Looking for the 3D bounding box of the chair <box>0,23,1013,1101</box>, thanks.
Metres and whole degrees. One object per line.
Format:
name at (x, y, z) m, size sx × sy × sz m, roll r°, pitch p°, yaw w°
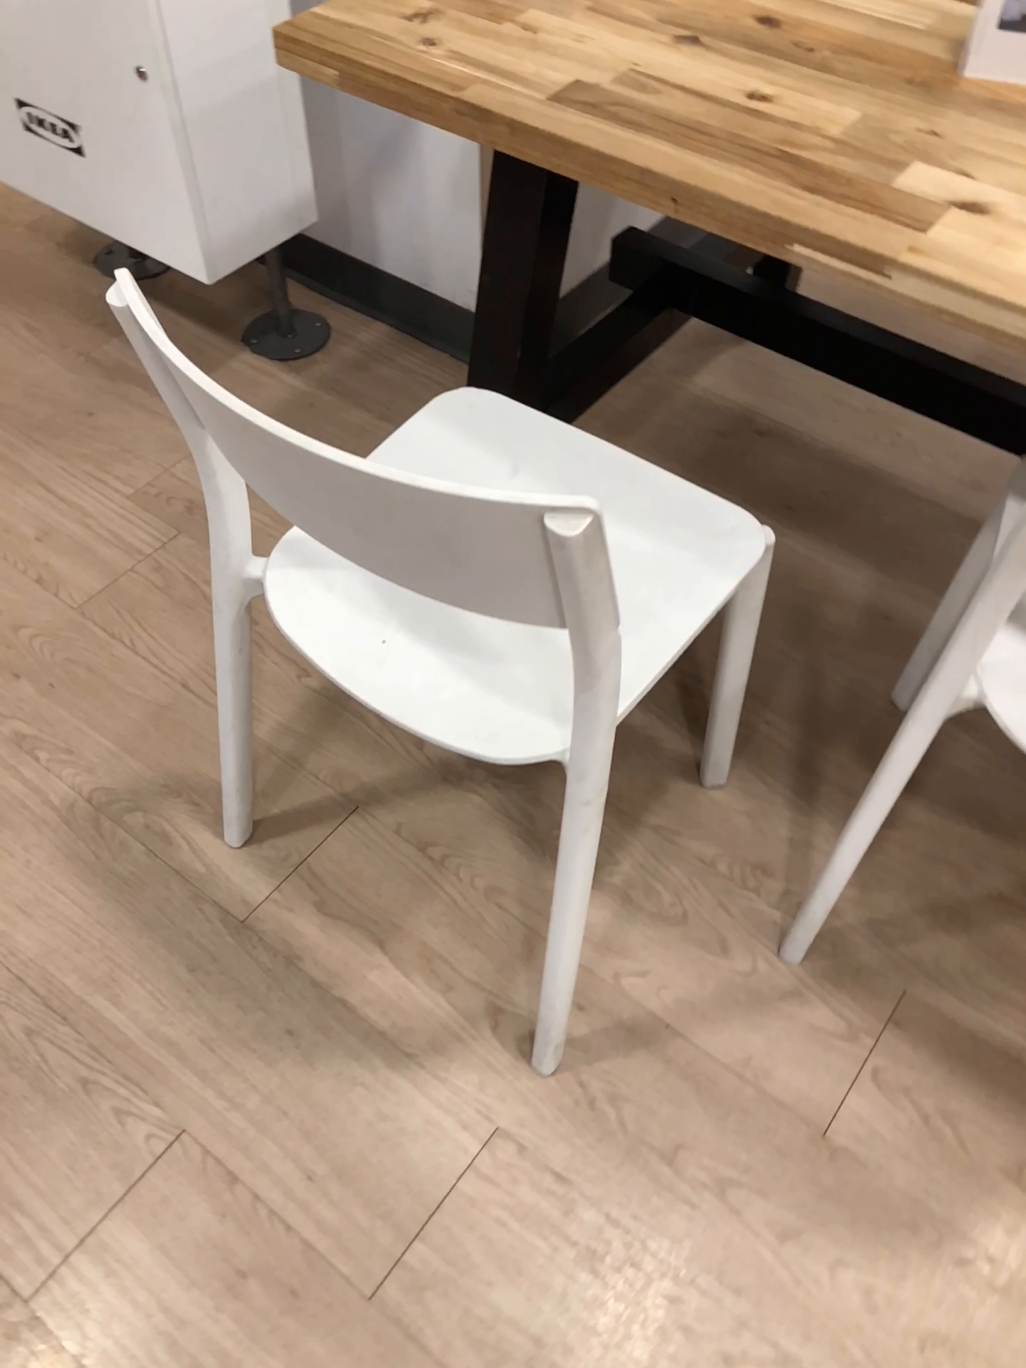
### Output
chair at (0.004, -0.100, 1.097) m, size 0.531 × 0.716 × 0.562 m, roll 30°, pitch 57°, yaw 21°
